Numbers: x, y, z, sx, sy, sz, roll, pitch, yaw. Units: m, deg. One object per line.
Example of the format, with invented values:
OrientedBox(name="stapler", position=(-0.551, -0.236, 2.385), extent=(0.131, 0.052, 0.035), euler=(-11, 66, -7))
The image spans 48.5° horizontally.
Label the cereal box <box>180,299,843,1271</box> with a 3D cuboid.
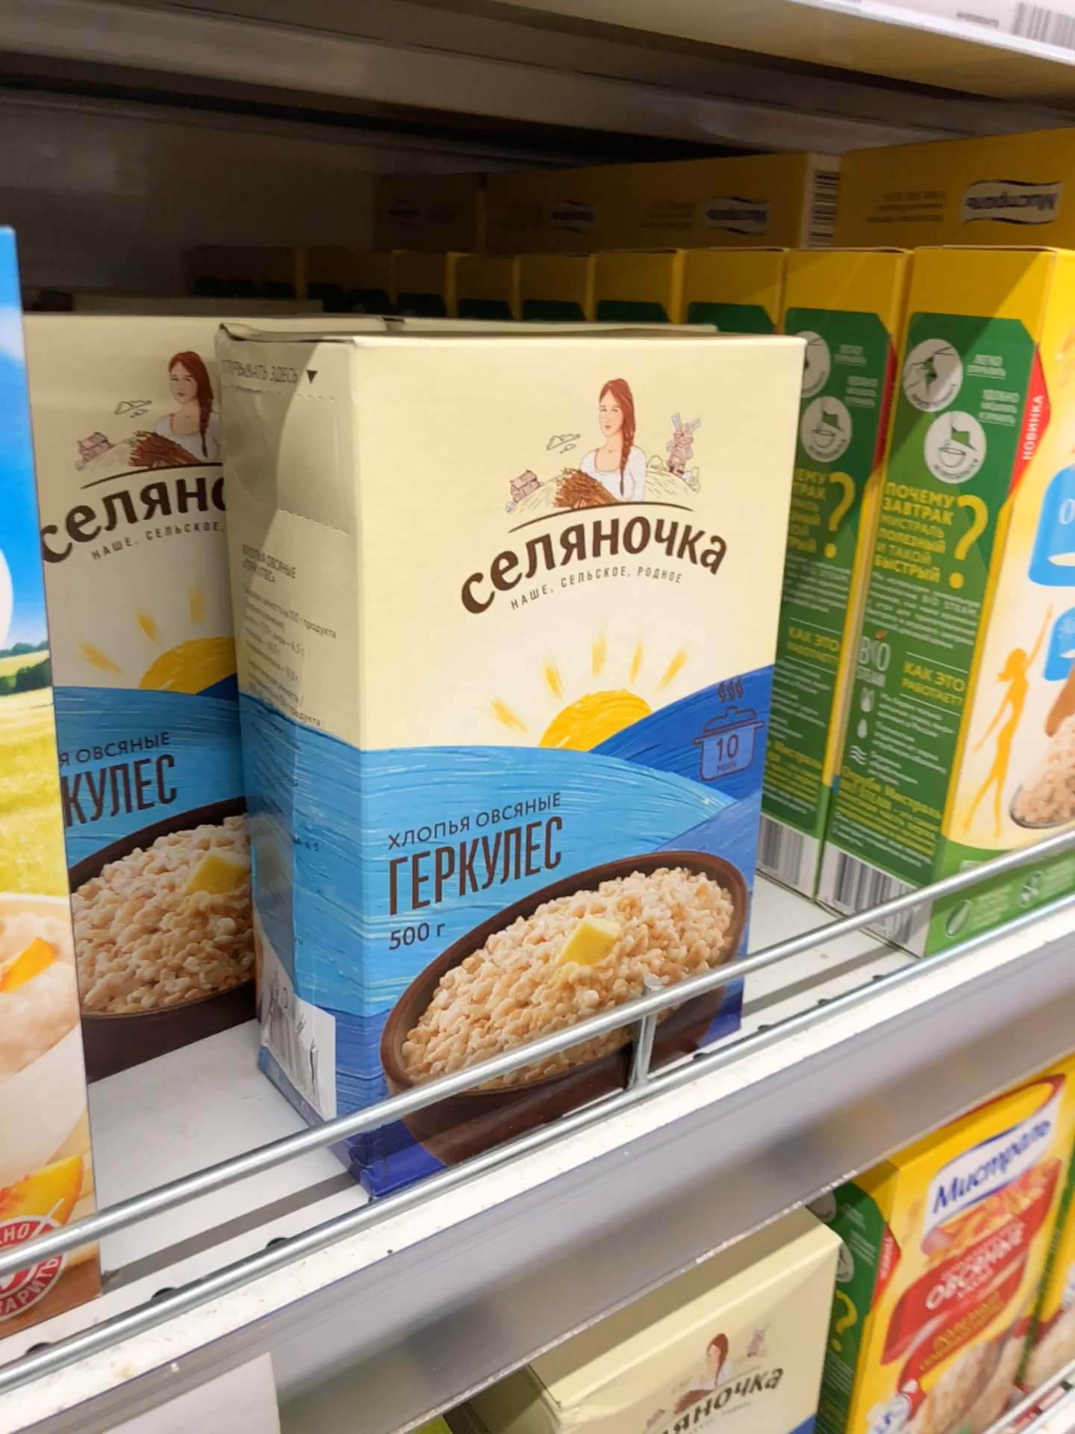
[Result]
OrientedBox(name="cereal box", position=(-0.005, 0.007, 0.287), extent=(0.130, 0.199, 0.060), euler=(-12, 23, -34))
